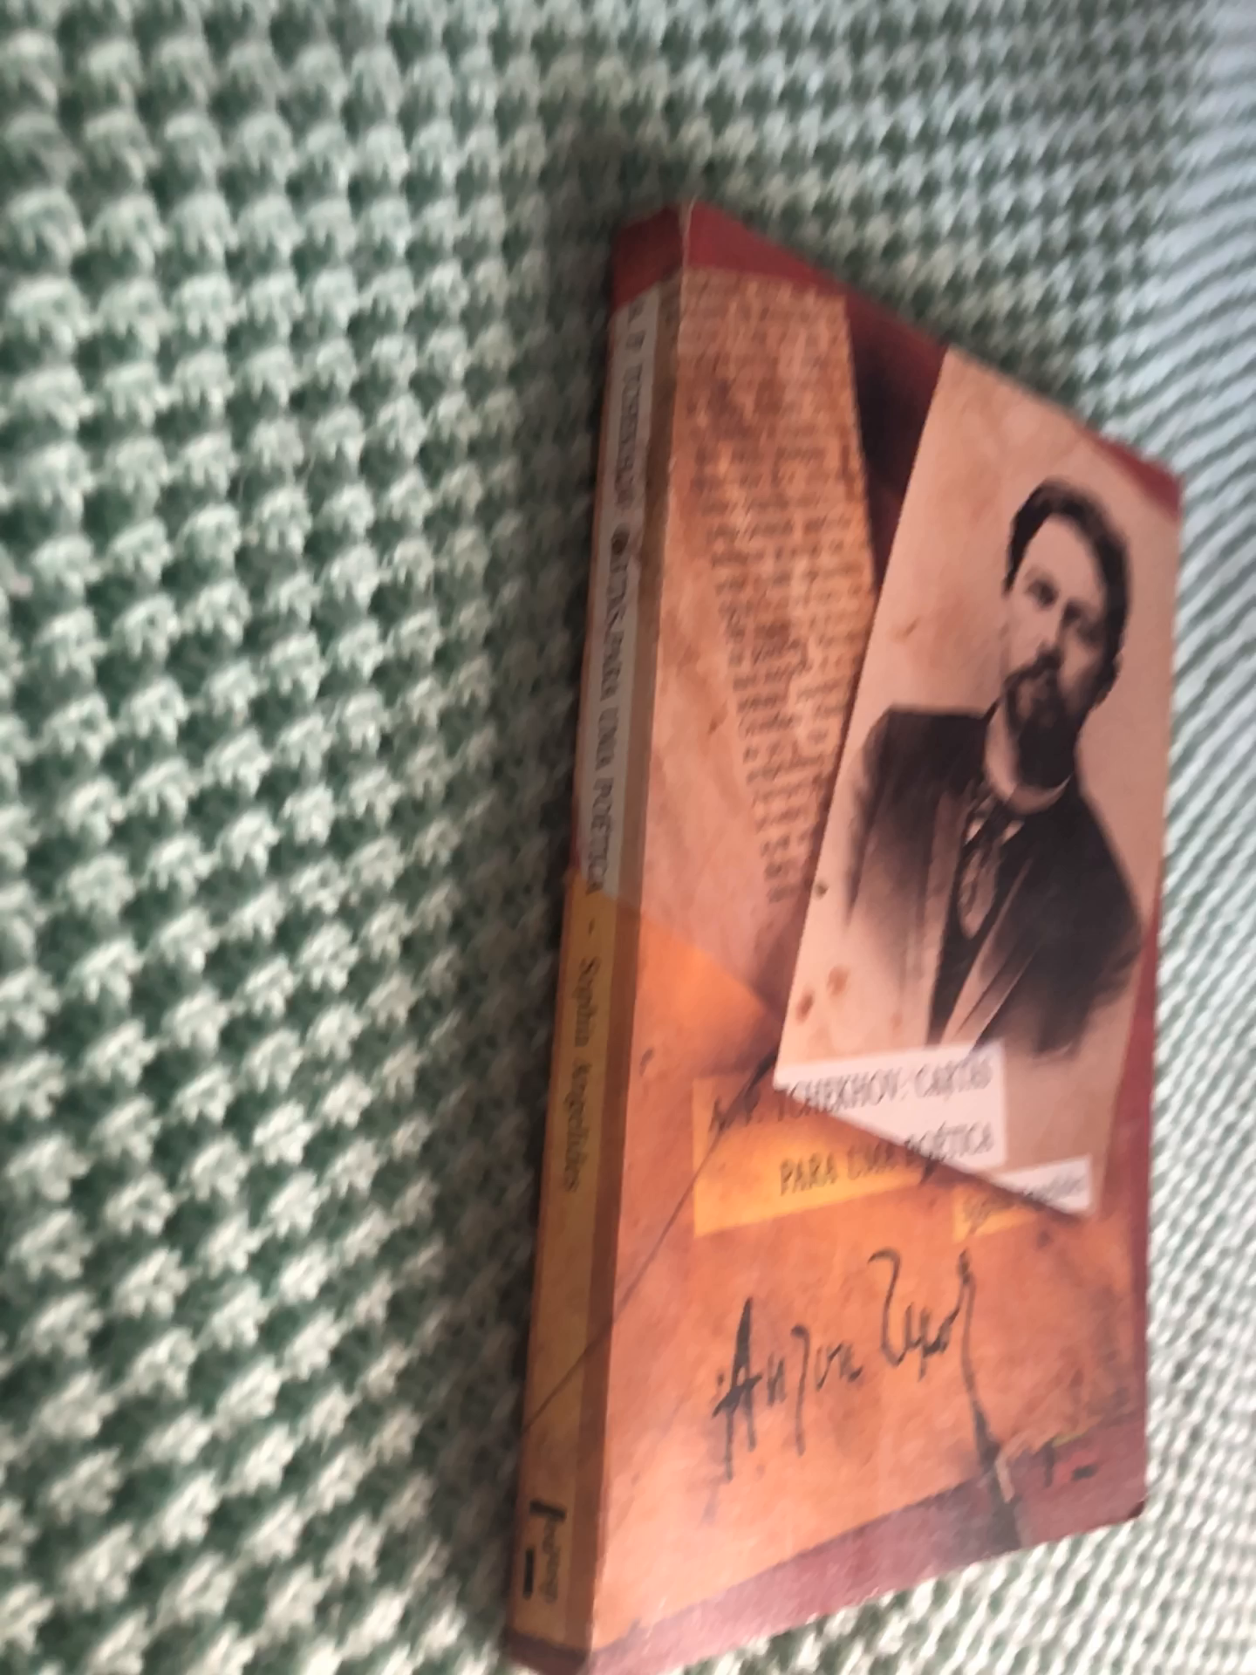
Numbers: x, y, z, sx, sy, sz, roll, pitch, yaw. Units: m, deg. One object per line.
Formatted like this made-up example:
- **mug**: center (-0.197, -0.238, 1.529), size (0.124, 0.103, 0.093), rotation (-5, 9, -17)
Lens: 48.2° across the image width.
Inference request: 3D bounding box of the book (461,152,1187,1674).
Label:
- **book**: center (0.048, 0.020, 0.244), size (0.151, 0.030, 0.210), rotation (10, 81, -45)
